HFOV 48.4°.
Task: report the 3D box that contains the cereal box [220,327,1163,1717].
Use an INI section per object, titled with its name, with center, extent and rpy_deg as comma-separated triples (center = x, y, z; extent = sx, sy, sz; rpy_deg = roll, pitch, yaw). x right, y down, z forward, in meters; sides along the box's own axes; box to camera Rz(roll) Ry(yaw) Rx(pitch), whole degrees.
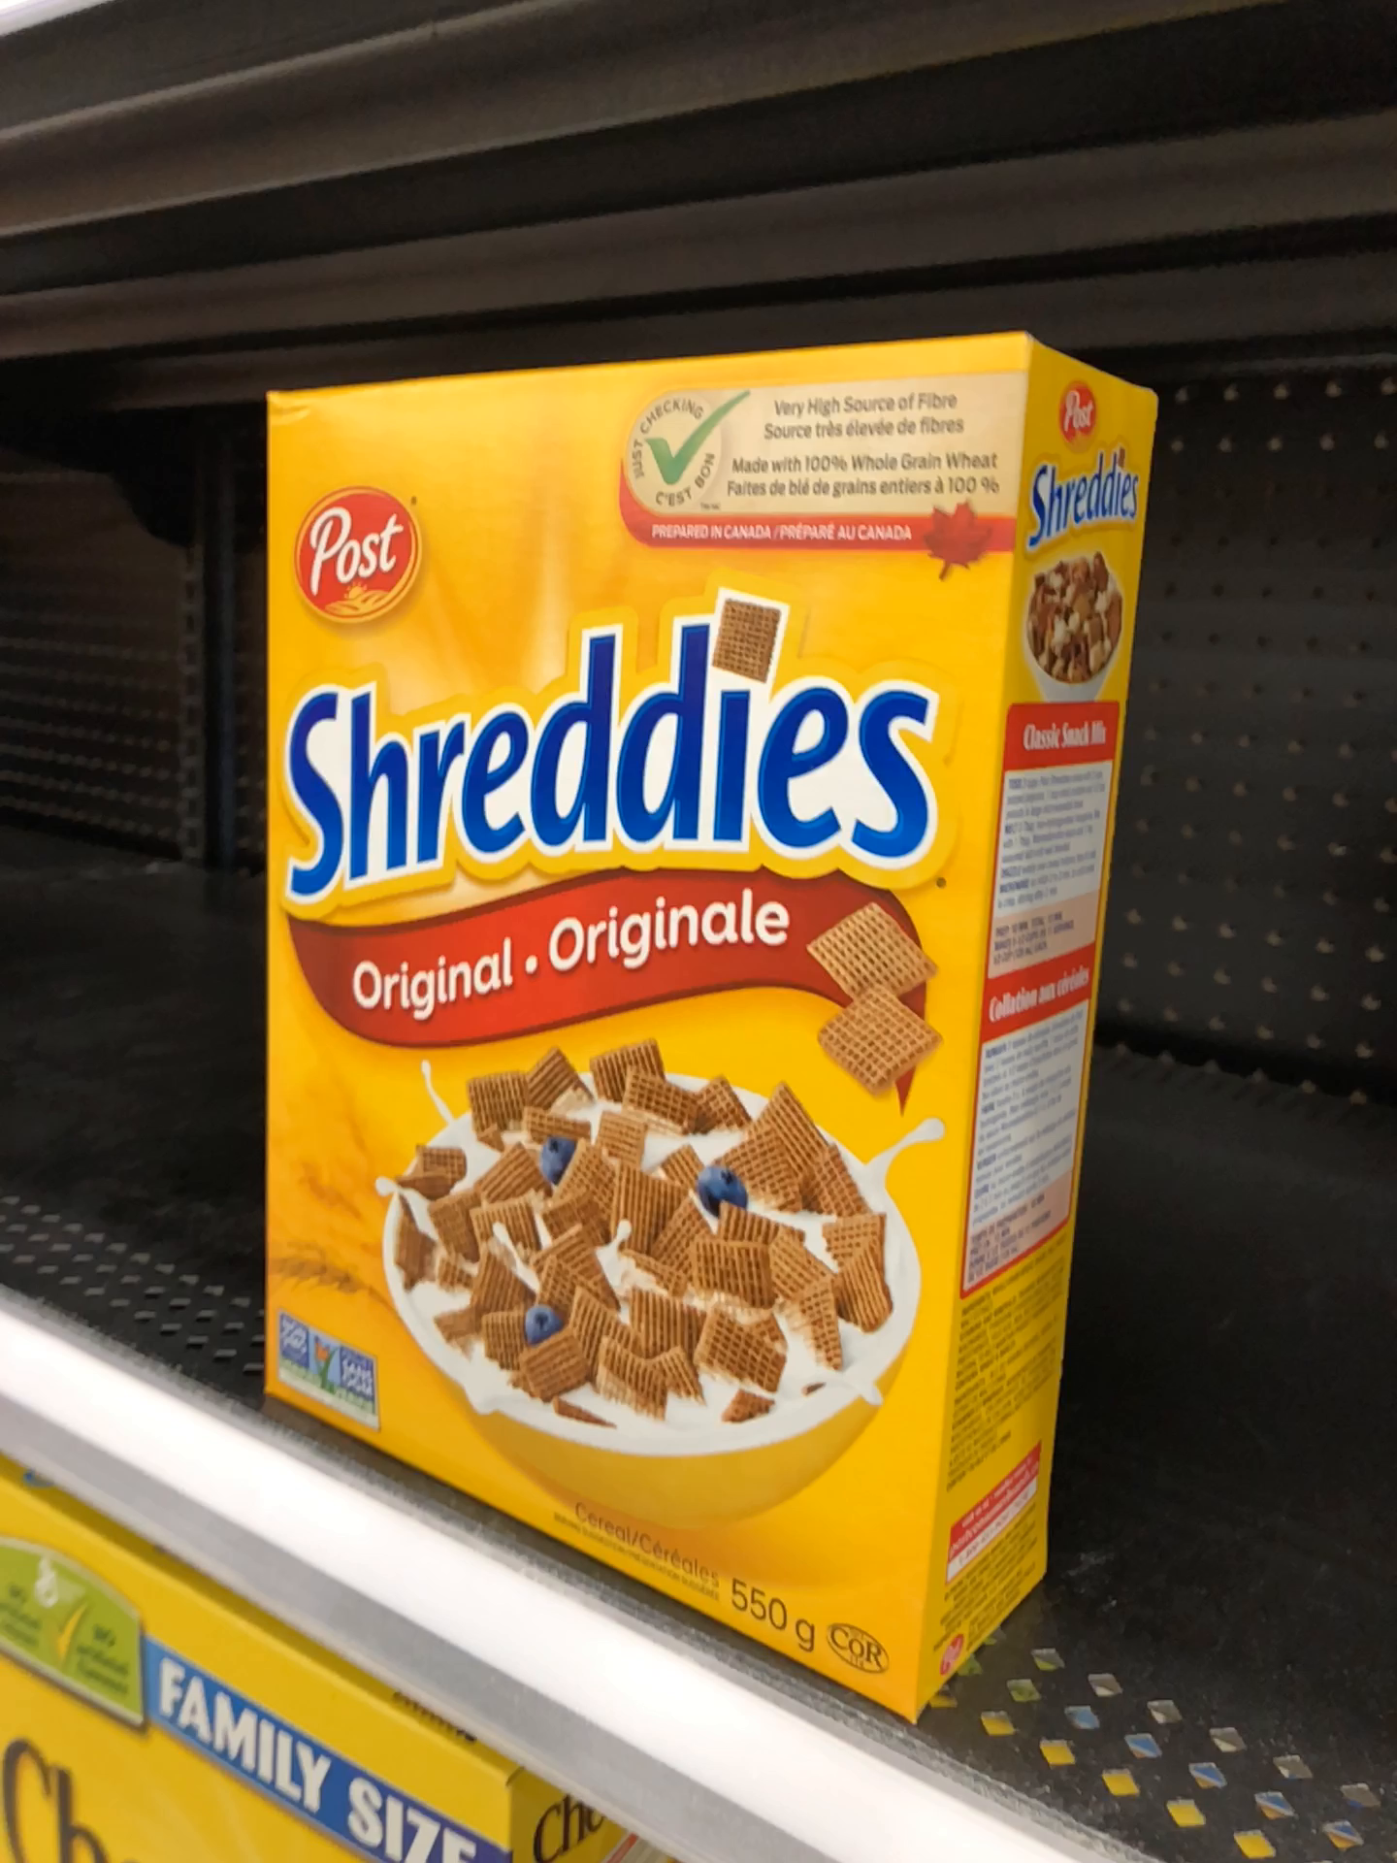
[cereal box]
center = -0.017, 0.006, 0.370
extent = 0.210, 0.259, 0.070
rpy_deg = 10, 12, 35
